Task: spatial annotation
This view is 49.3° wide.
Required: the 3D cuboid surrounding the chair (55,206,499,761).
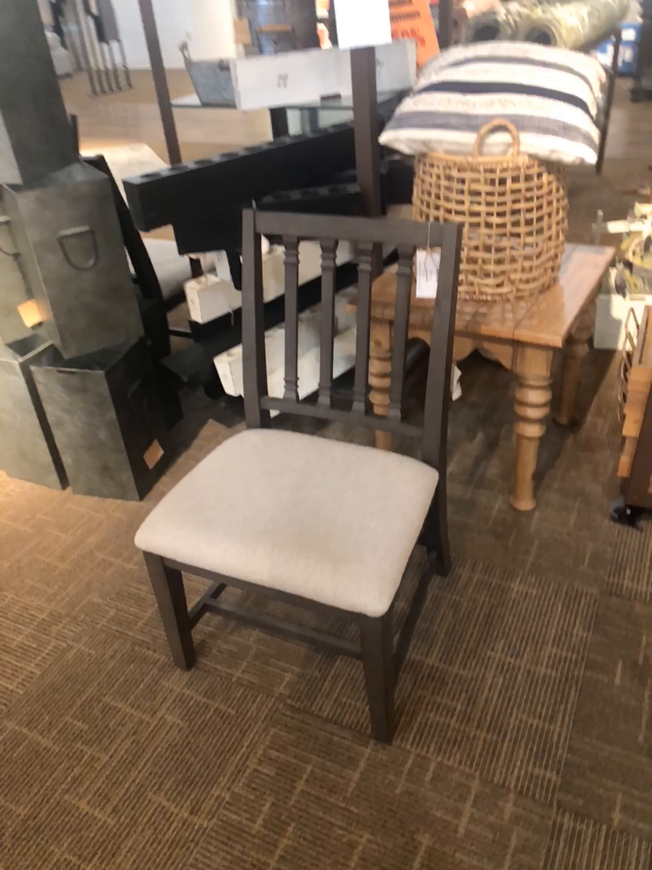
[{"bbox_3d":[-0.025,0.070,1.532,0.580,0.905,0.603,12,37,24],"label":"chair"}]
